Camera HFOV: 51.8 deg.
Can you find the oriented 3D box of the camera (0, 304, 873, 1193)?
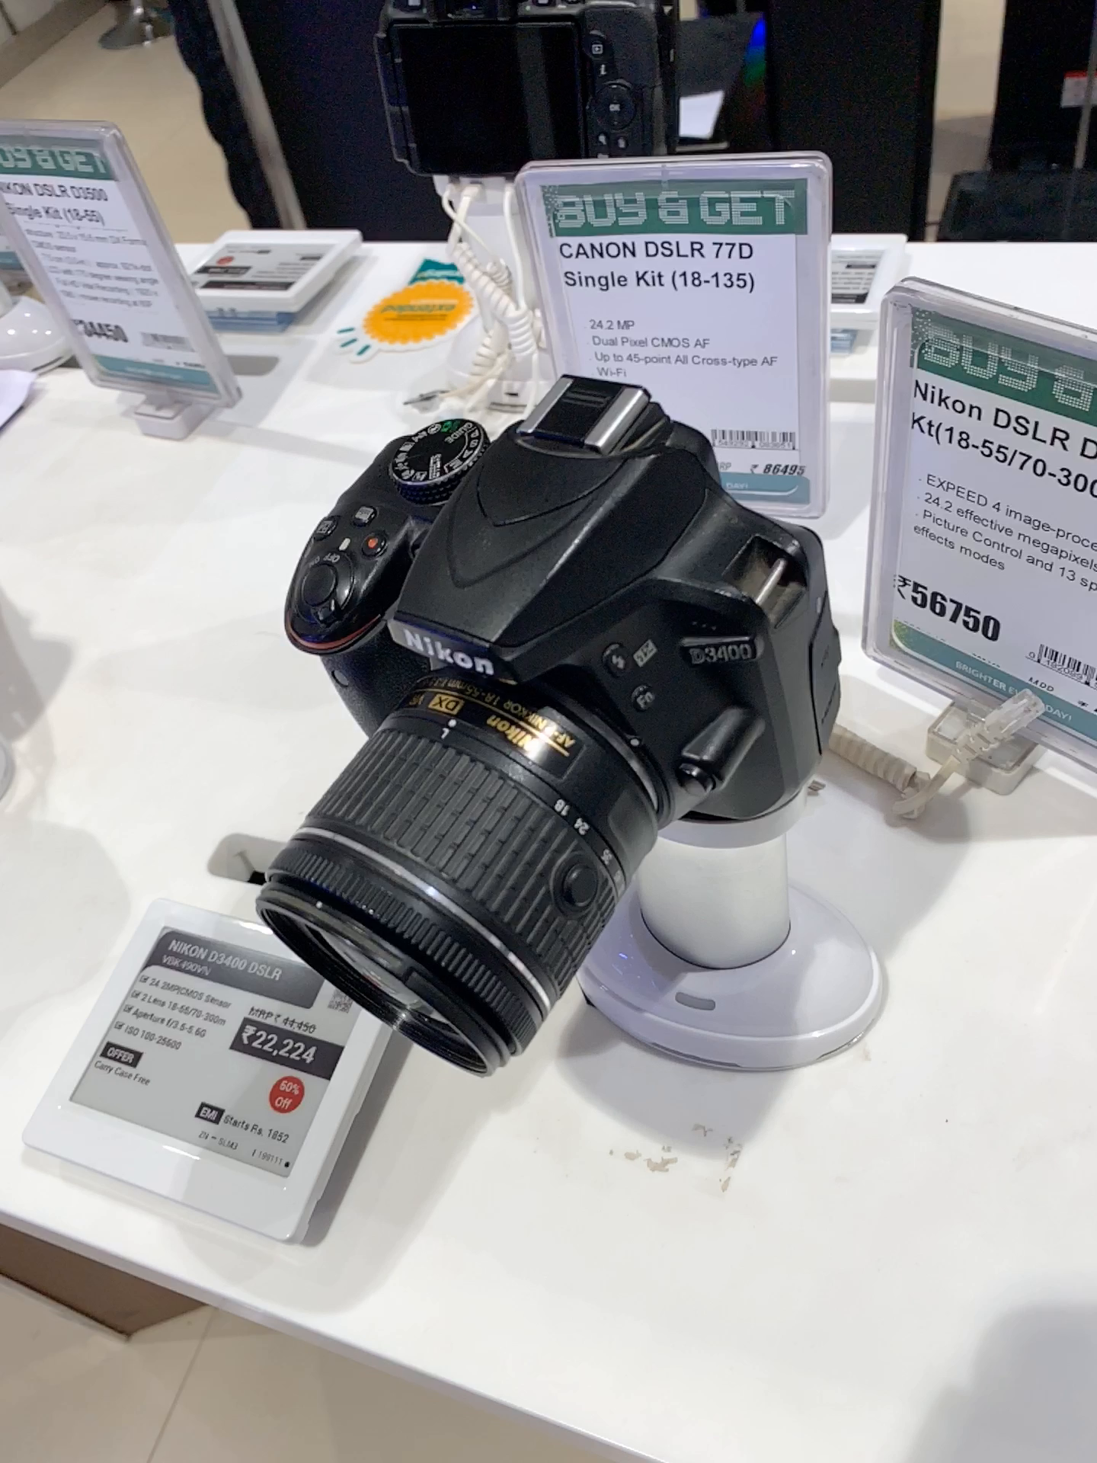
[{"bbox_3d":[-0.019,-0.007,0.221,0.120,0.080,0.120,20,58,28],"label":"camera"}]
